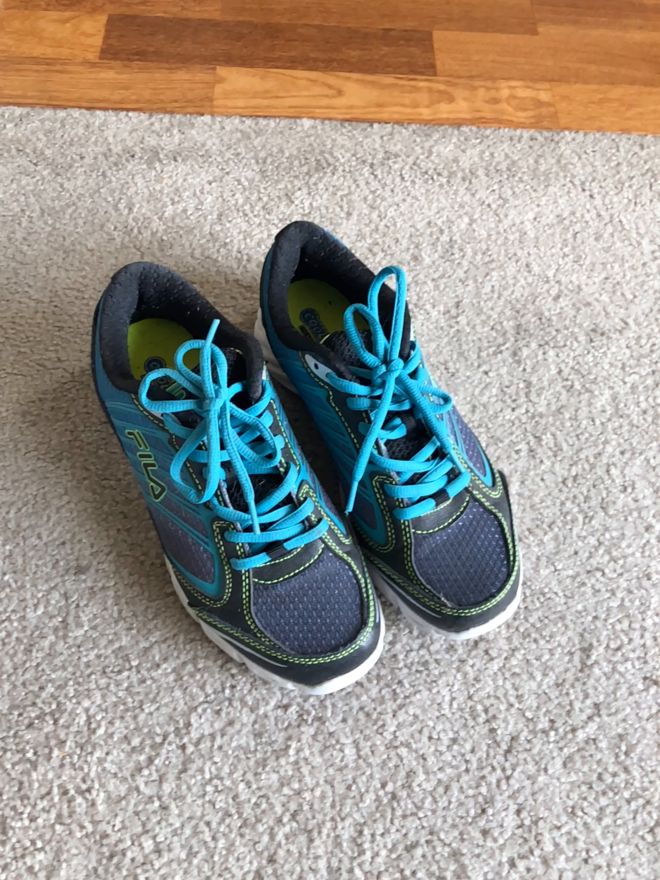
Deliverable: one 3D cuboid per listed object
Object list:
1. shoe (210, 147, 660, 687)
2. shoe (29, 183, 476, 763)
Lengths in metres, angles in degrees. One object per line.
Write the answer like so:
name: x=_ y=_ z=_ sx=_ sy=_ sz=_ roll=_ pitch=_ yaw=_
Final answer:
shoe: x=0.038 y=-0.019 z=0.420 sx=0.102 sy=0.119 sz=0.275 roll=-24 pitch=66 yaw=-17
shoe: x=-0.054 y=0.010 z=0.393 sx=0.105 sy=0.119 sz=0.272 roll=-22 pitch=65 yaw=-18
